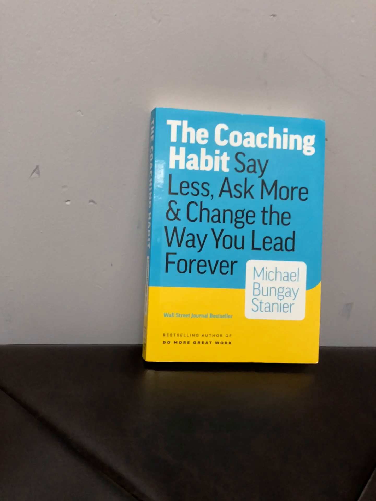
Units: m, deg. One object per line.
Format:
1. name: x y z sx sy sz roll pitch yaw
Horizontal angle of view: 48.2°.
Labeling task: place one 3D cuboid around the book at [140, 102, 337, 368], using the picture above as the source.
1. book: 0.040 -0.010 0.337 0.145 0.196 0.030 3 -3 -8
